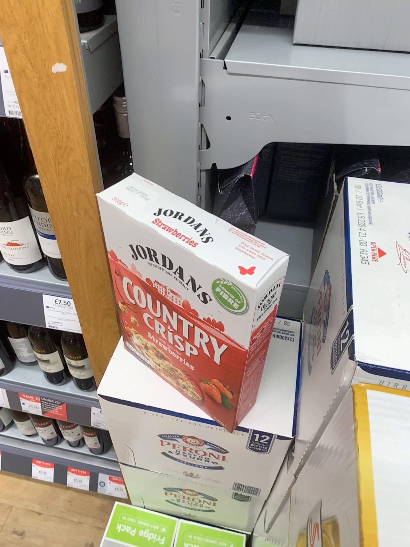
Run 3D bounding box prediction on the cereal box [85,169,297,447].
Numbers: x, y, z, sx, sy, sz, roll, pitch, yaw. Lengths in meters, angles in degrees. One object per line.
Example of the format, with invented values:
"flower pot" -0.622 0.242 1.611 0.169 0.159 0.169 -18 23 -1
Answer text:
"cereal box" -0.022 0.046 0.434 0.191 0.248 0.050 32 52 26
